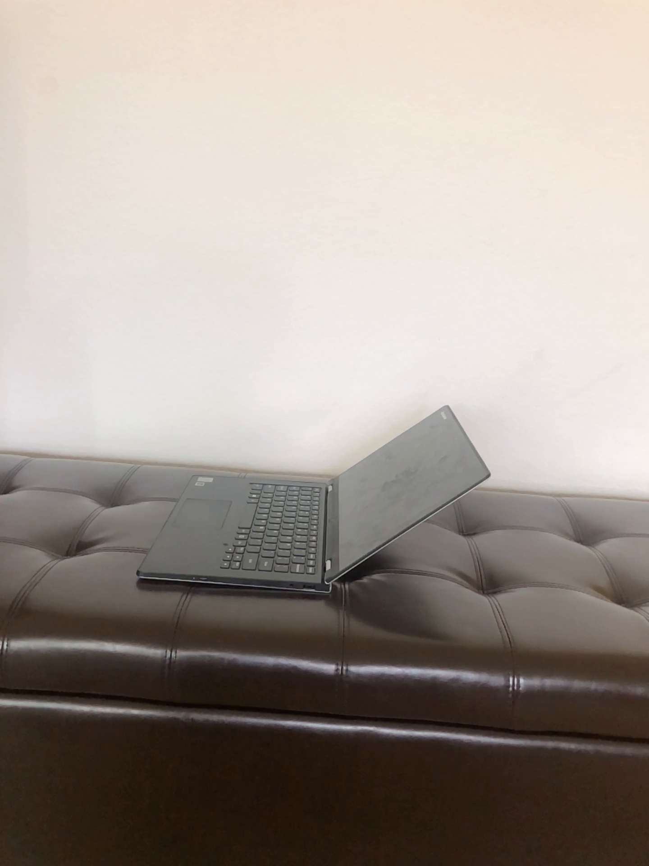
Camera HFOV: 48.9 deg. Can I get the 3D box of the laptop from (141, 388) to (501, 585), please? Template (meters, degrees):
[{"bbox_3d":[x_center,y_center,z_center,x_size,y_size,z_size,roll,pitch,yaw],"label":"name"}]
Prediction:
[{"bbox_3d":[-0.005,0.043,0.769,0.317,0.115,0.262,2,16,0],"label":"laptop"}]
